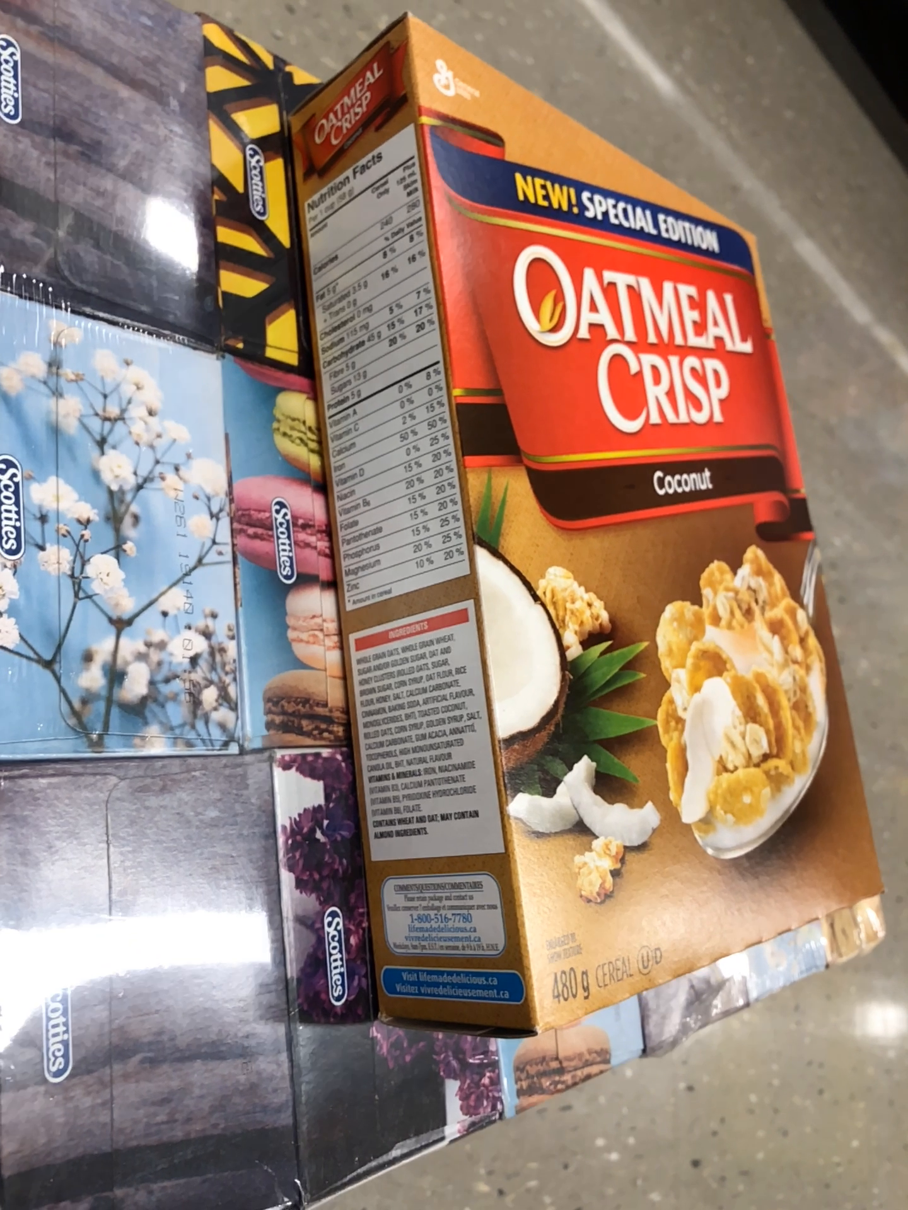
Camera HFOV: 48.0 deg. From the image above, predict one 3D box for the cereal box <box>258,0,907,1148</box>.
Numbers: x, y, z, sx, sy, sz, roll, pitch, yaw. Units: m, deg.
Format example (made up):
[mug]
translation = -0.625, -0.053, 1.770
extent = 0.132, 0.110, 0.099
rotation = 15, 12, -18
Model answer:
[cereal box]
translation = 0.054, -0.014, 0.327
extent = 0.211, 0.060, 0.290
rotation = 8, 67, -42
